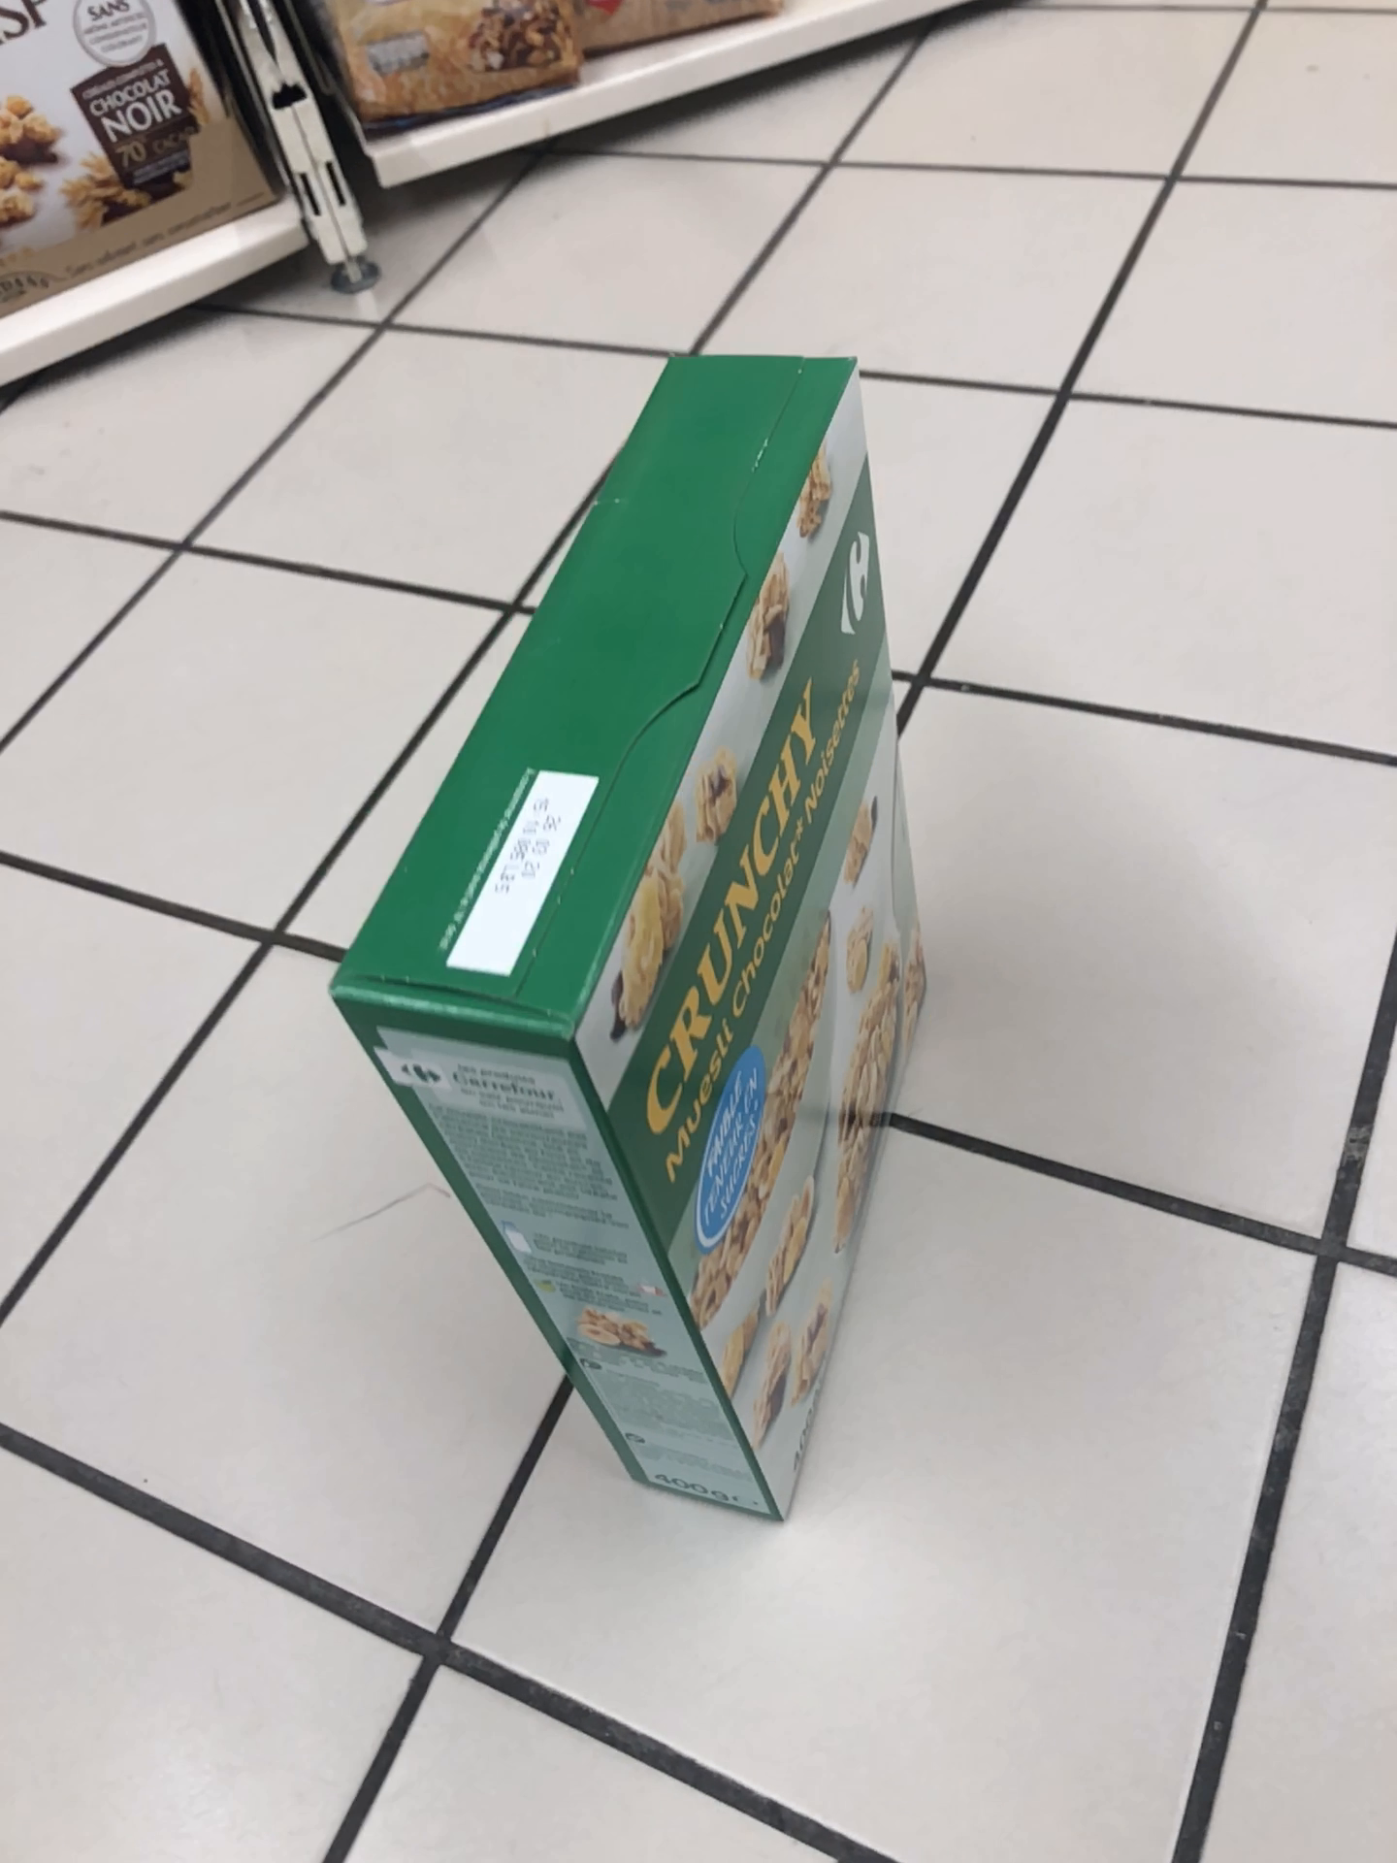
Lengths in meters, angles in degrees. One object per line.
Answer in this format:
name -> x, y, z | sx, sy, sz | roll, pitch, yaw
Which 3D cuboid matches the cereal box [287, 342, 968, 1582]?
cereal box -> 0.013, 0.020, 0.392 | 0.060, 0.249, 0.201 | 8, 54, 19
